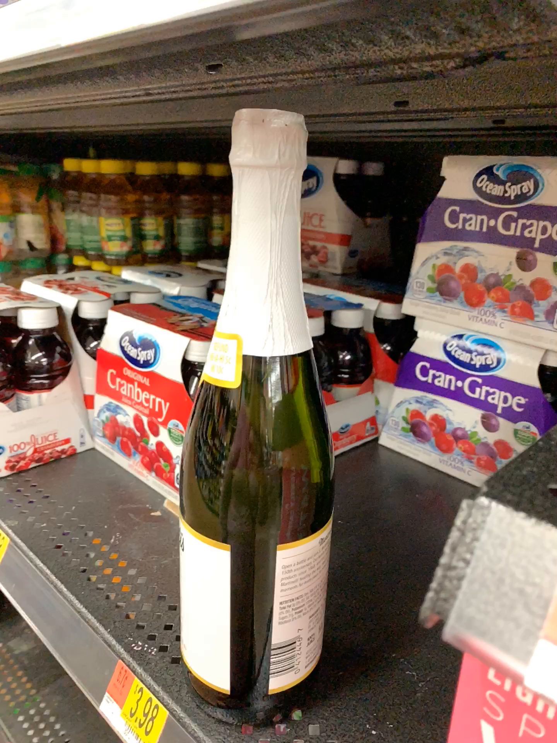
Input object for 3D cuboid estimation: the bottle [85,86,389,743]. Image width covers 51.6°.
[{"bbox_3d":[-0.014,0.034,0.278,0.090,0.299,0.090,1,20,0],"label":"bottle"}]
